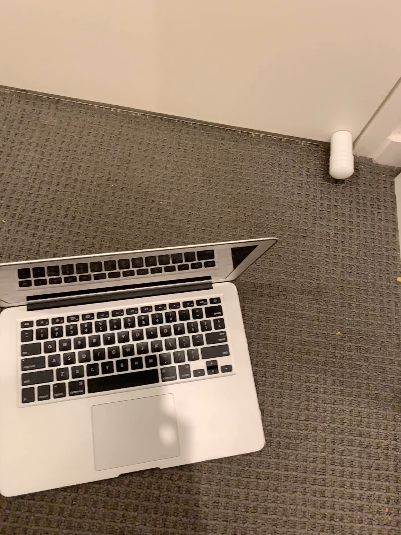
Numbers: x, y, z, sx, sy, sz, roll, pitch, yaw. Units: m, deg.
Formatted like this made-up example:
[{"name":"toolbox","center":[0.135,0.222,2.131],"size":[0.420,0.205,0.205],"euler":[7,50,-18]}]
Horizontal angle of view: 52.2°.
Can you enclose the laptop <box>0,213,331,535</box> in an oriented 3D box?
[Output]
[{"name":"laptop","center":[-0.082,0.107,0.439],"size":[0.322,0.215,0.226],"euler":[-7,71,-9]}]
